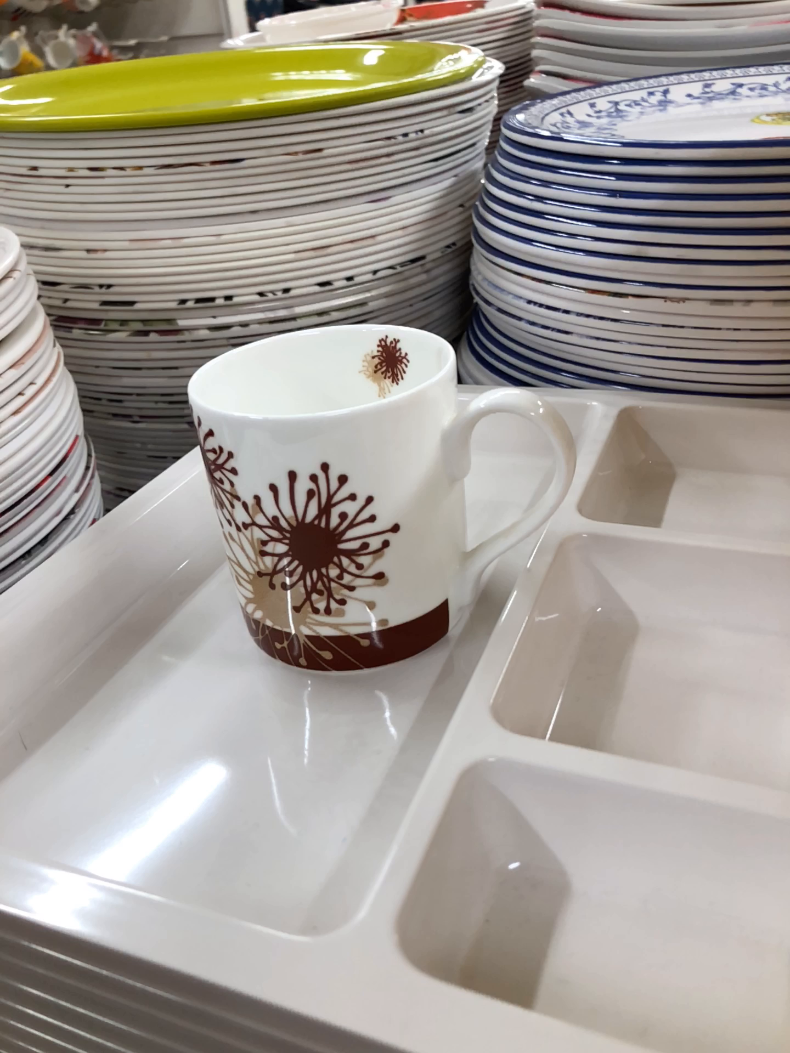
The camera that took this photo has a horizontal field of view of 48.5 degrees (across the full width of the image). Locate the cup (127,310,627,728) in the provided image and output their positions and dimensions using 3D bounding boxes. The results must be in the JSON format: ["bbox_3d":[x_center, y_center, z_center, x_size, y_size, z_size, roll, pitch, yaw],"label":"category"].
[{"bbox_3d":[0.003,-0.009,0.265,0.120,0.089,0.081,4,31,17],"label":"cup"}]
